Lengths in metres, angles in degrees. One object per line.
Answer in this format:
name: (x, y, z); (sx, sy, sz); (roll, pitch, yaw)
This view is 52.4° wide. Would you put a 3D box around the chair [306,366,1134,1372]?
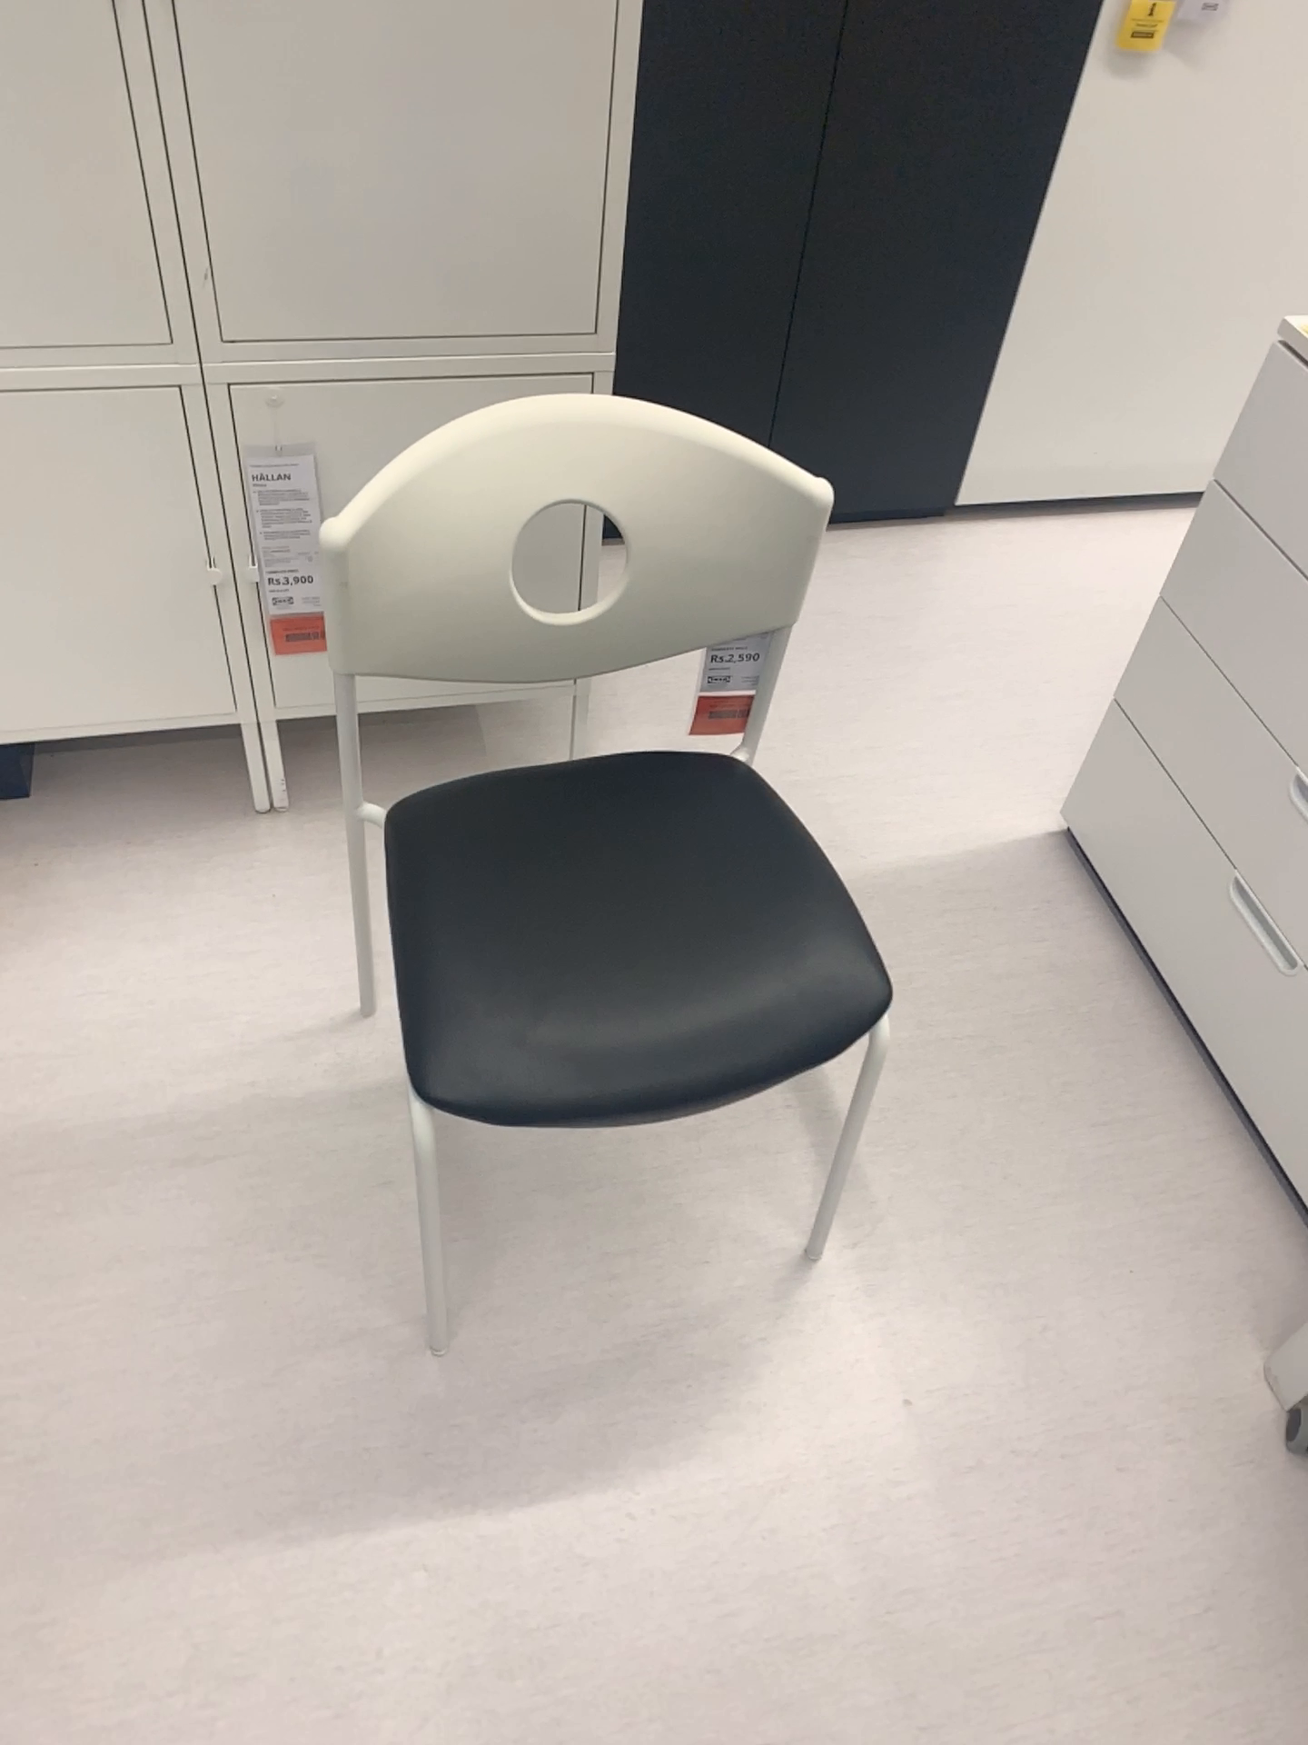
chair: (-0.017, 0.016, 1.276); (0.480, 0.767, 0.512); (-10, 49, -16)
